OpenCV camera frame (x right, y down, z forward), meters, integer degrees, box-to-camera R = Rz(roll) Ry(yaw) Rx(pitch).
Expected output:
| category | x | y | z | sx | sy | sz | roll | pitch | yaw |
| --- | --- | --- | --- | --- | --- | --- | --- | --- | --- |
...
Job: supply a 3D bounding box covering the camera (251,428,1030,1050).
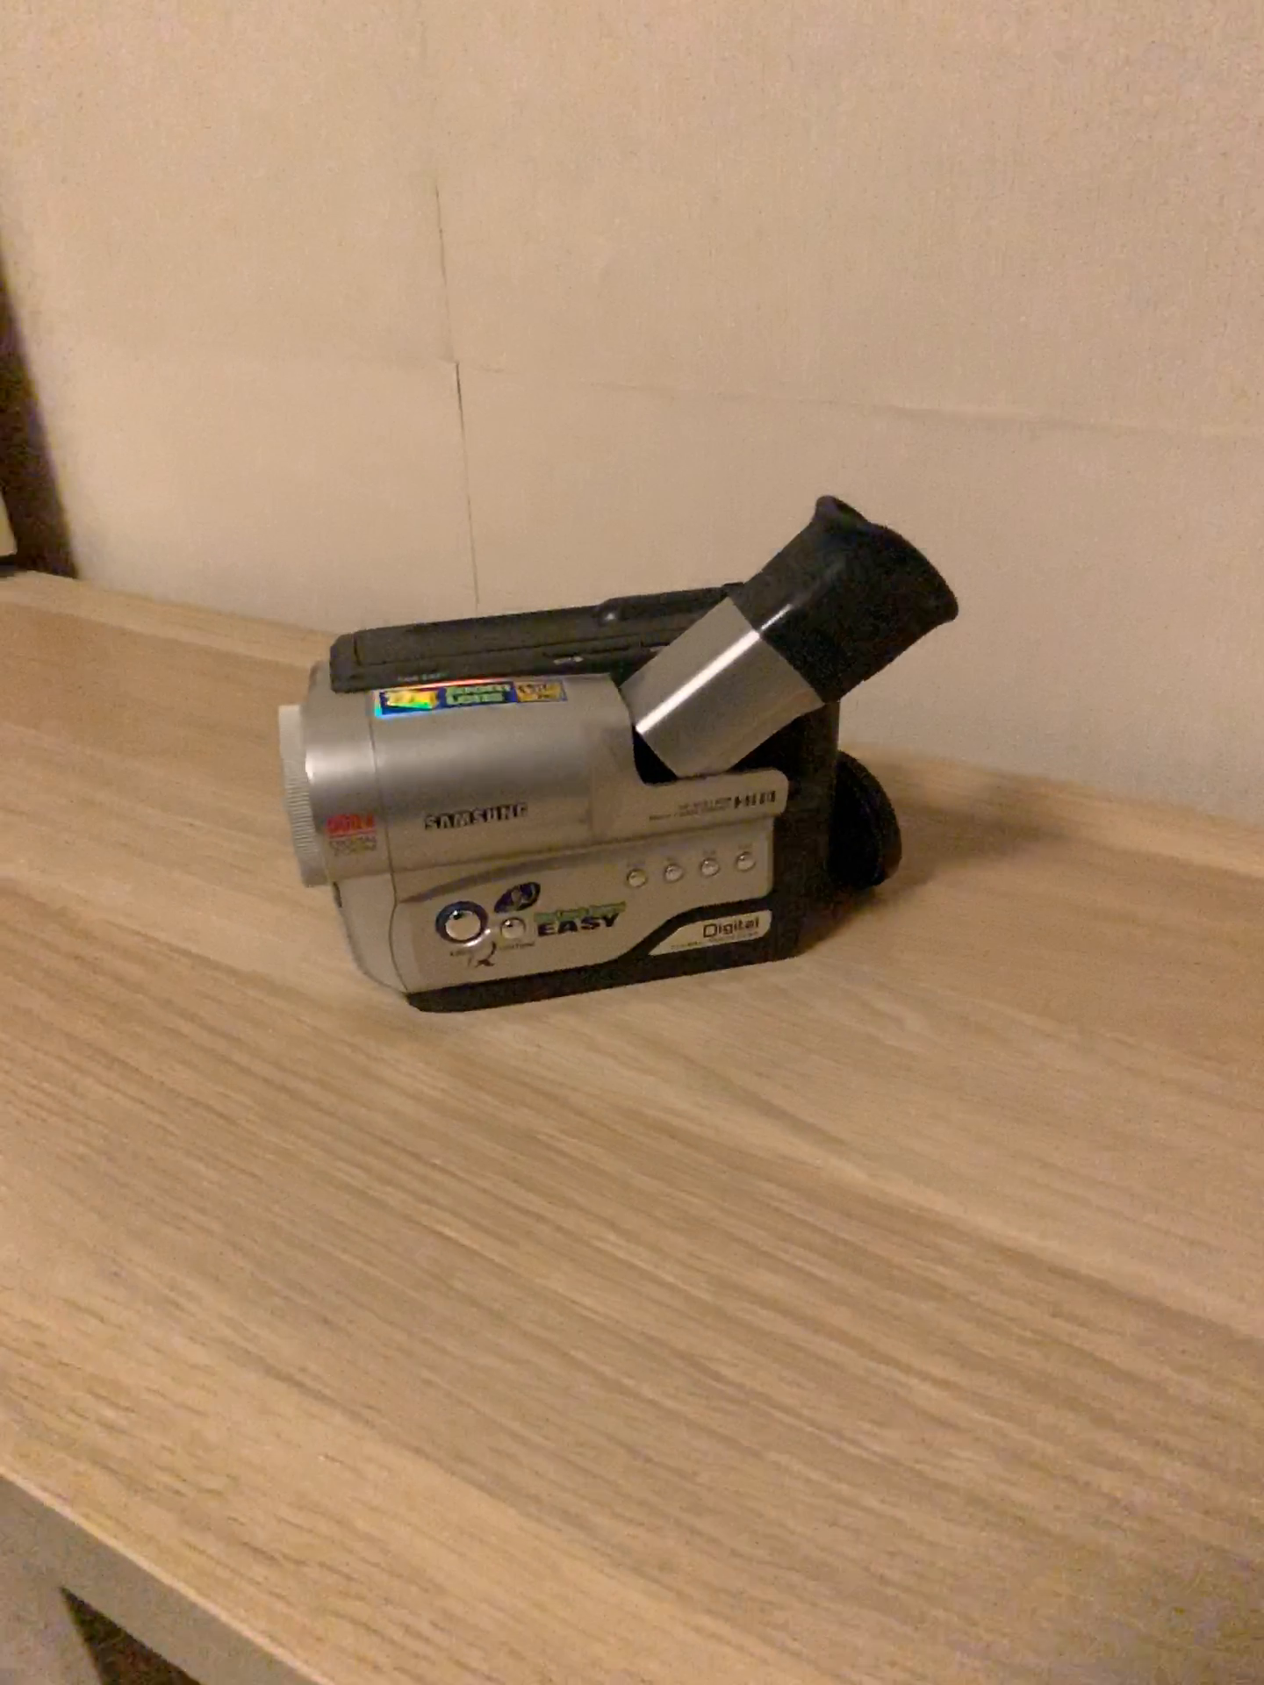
| category | x | y | z | sx | sy | sz | roll | pitch | yaw |
| --- | --- | --- | --- | --- | --- | --- | --- | --- | --- |
| camera | -0.004 | -0.039 | 0.387 | 0.192 | 0.133 | 0.107 | -7 | 29 | -11 |
